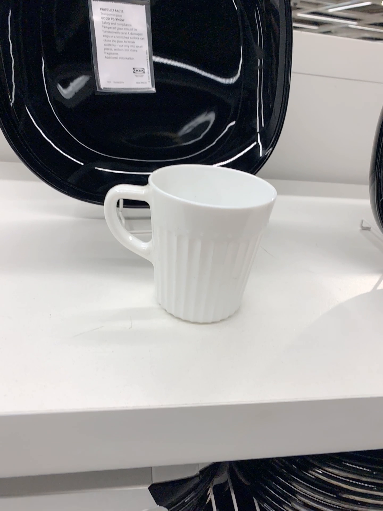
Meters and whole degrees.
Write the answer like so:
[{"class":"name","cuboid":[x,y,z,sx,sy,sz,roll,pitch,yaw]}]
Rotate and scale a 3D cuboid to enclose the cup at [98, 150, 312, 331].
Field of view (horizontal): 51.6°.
[{"class":"cup","cuboid":[0.002,-0.014,0.260,0.110,0.080,0.090,4,27,-5]}]
